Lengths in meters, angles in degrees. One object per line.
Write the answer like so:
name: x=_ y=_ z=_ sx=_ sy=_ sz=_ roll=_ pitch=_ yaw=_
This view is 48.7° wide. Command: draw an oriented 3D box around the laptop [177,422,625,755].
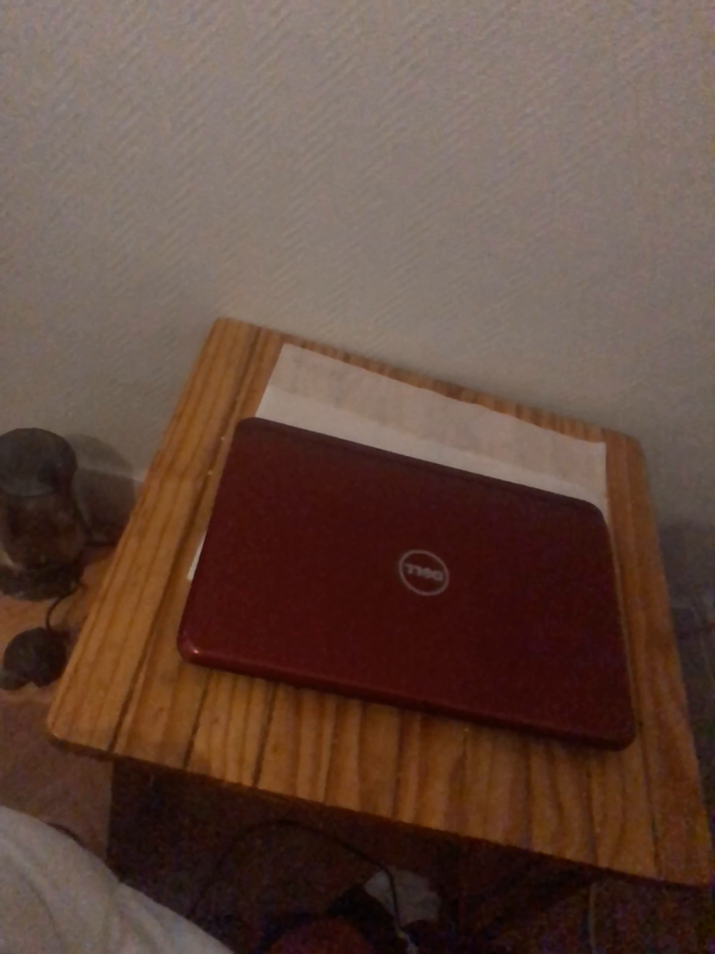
laptop: x=0.053 y=0.087 z=0.702 sx=0.365 sy=0.011 sz=0.247 roll=14 pitch=48 yaw=-7
